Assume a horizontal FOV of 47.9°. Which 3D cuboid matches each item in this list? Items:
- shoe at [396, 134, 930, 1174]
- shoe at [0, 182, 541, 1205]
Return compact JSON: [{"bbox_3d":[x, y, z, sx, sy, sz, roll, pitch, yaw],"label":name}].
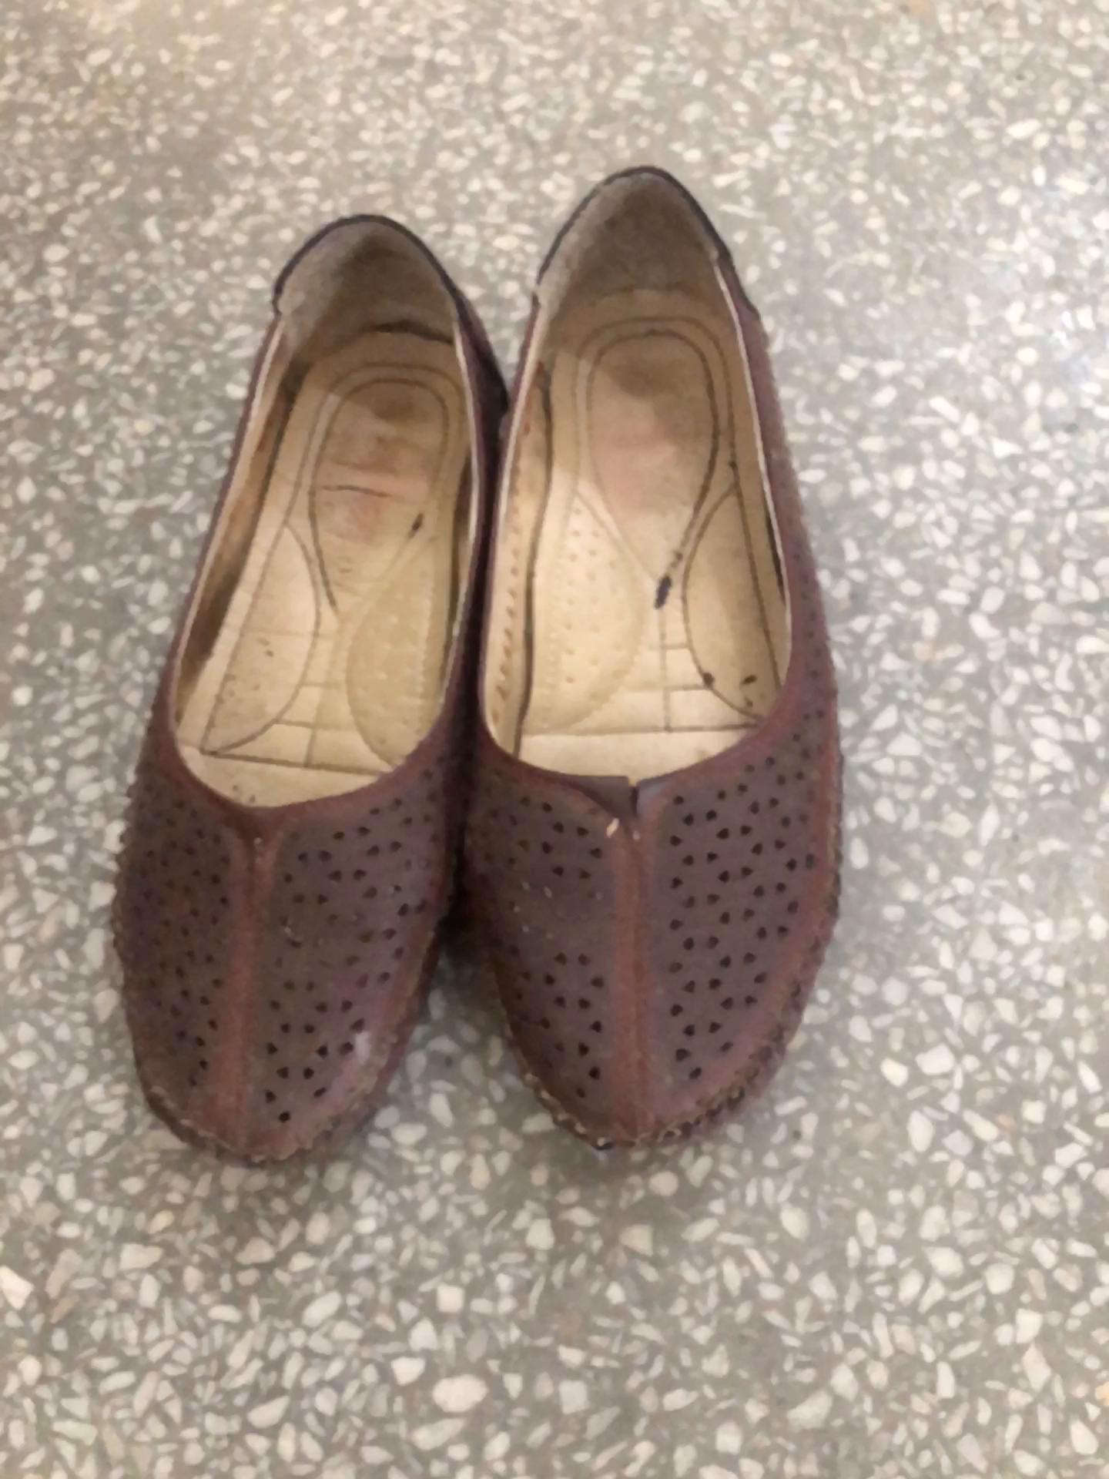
[{"bbox_3d":[0.020,-0.020,0.300,0.095,0.080,0.231,-3,69,5],"label":"shoe"},{"bbox_3d":[-0.064,-0.015,0.309,0.087,0.080,0.236,4,70,8],"label":"shoe"}]
